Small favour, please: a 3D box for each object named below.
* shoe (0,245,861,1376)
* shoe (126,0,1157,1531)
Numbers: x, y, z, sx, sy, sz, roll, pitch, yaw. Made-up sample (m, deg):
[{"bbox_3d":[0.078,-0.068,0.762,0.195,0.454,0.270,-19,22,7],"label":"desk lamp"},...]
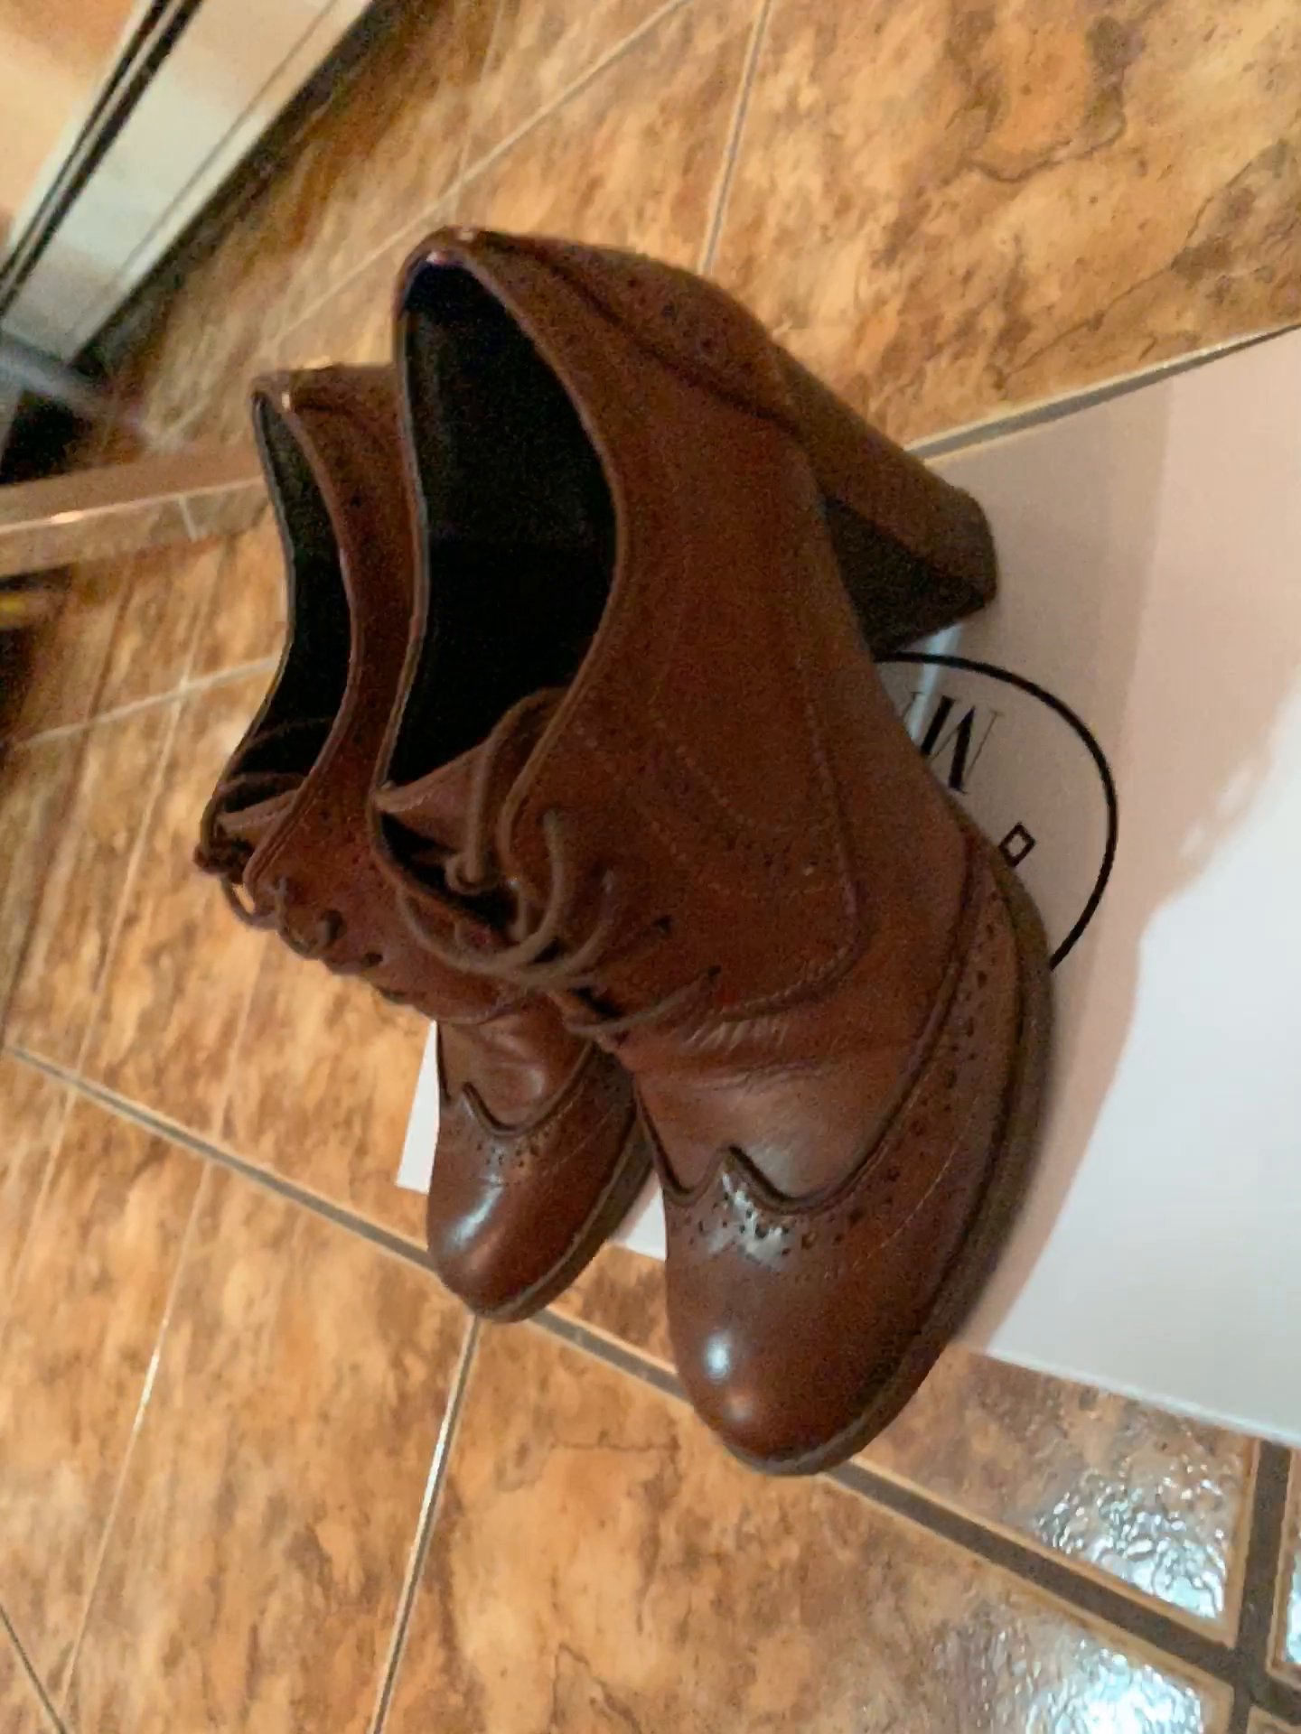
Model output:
[{"bbox_3d":[-0.052,-0.005,0.346,0.096,0.136,0.228,2,75,54],"label":"shoe"},{"bbox_3d":[0.009,-0.007,0.263,0.096,0.136,0.228,-10,66,52],"label":"shoe"}]
